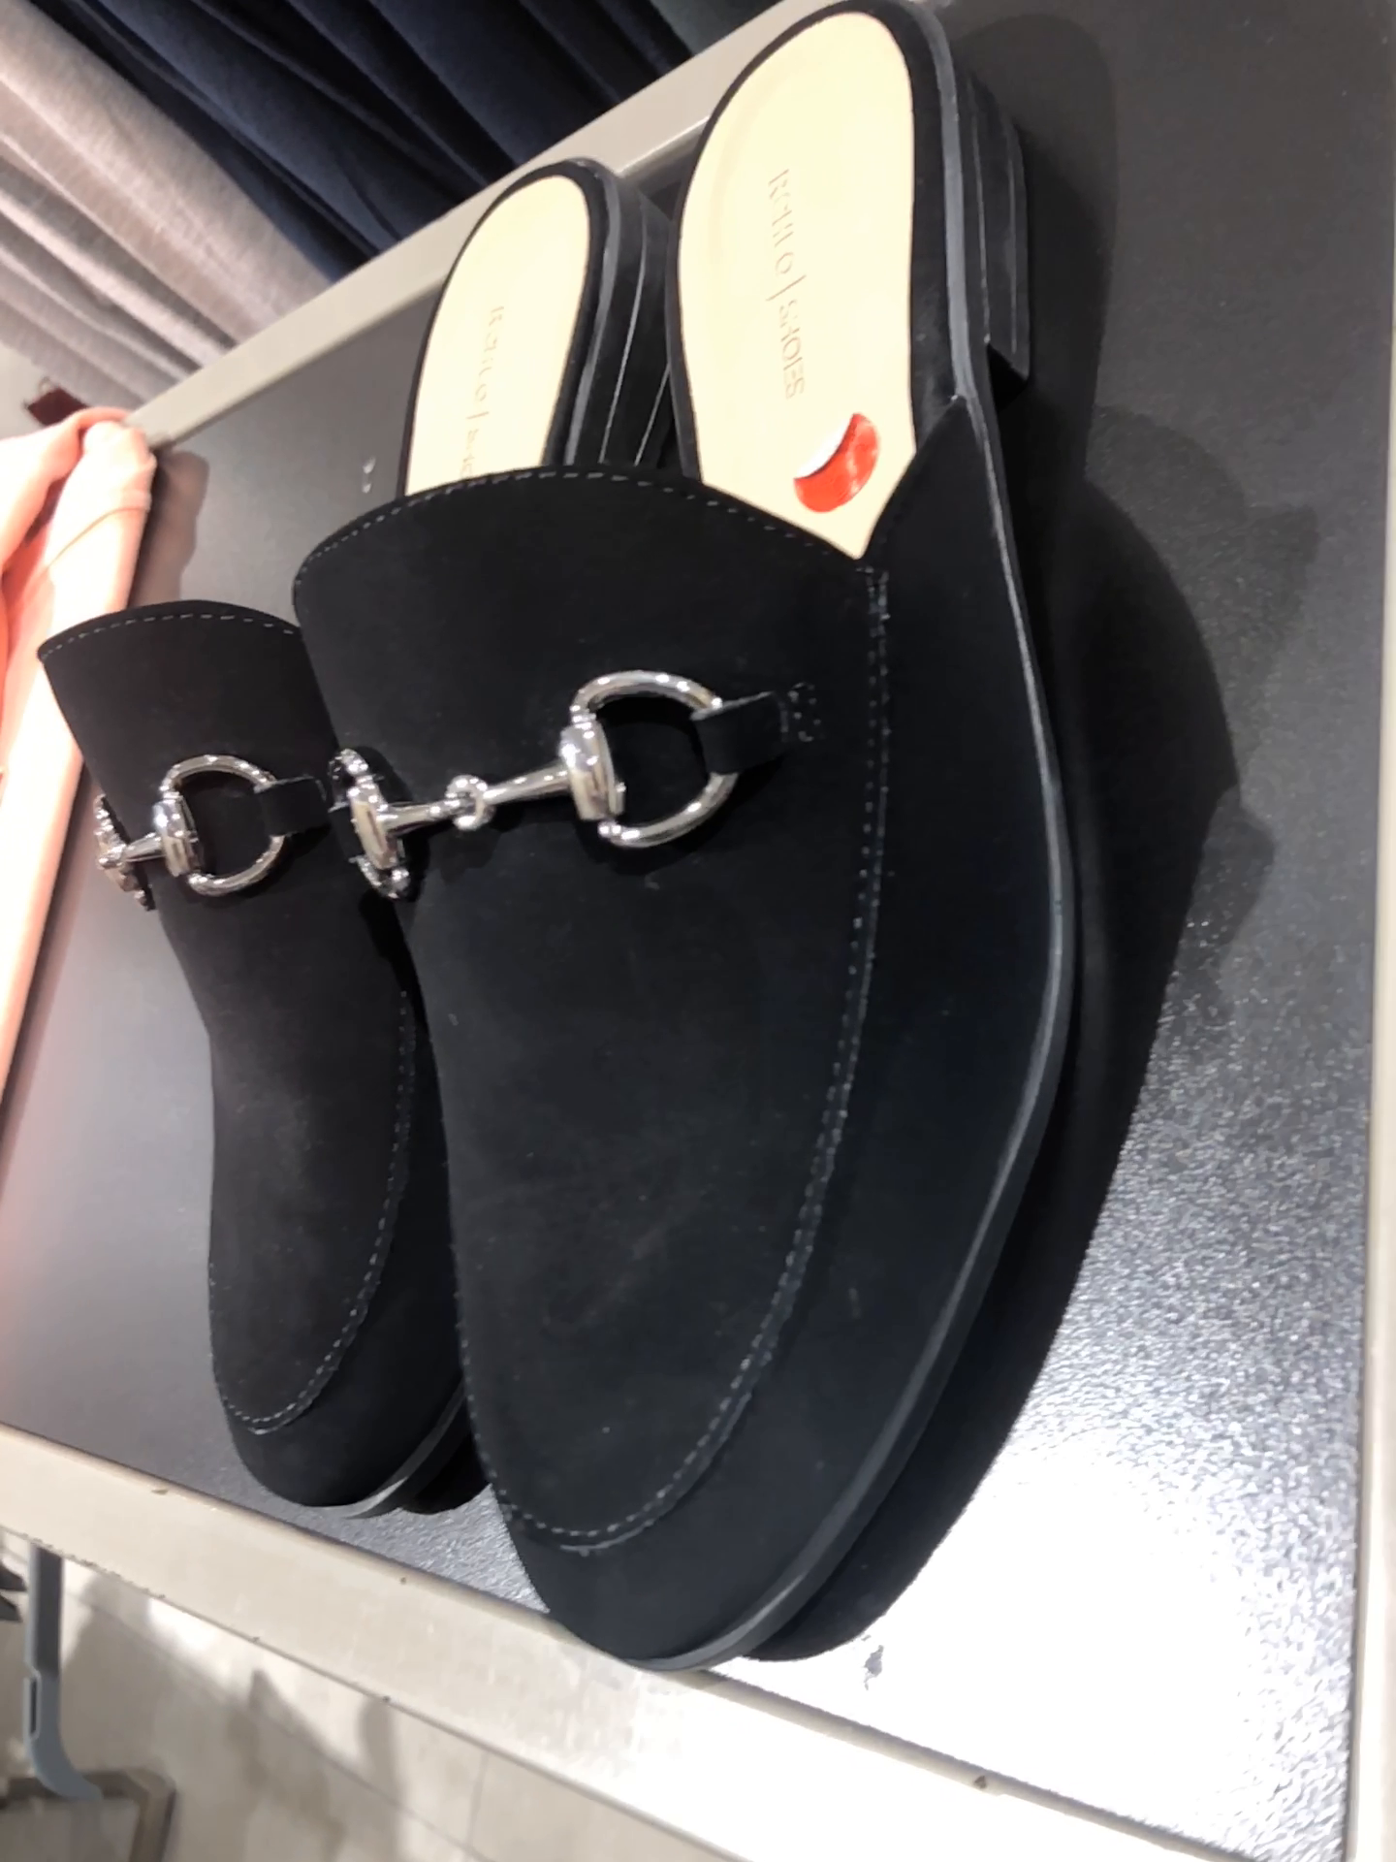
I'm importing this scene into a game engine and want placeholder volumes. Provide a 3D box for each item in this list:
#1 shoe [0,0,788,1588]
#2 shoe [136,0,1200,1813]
[{"bbox_3d":[-0.052,-0.020,0.264,0.090,0.080,0.220,-6,76,44],"label":"shoe"},{"bbox_3d":[0.004,-0.025,0.201,0.090,0.070,0.220,-9,68,43],"label":"shoe"}]
